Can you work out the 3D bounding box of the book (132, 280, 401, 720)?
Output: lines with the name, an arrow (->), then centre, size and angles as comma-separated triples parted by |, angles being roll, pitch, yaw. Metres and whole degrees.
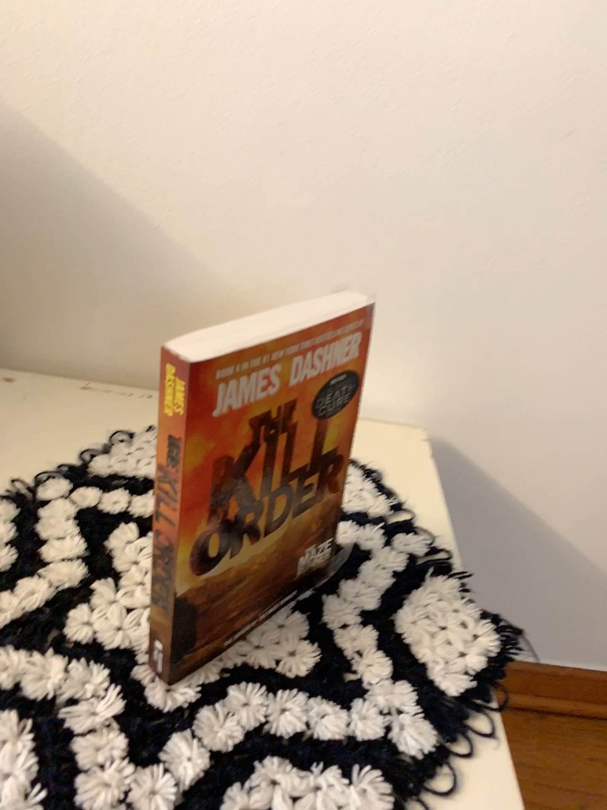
book -> -0.022, 0.049, 0.359 | 0.030, 0.218, 0.161 | 27, 33, 33
